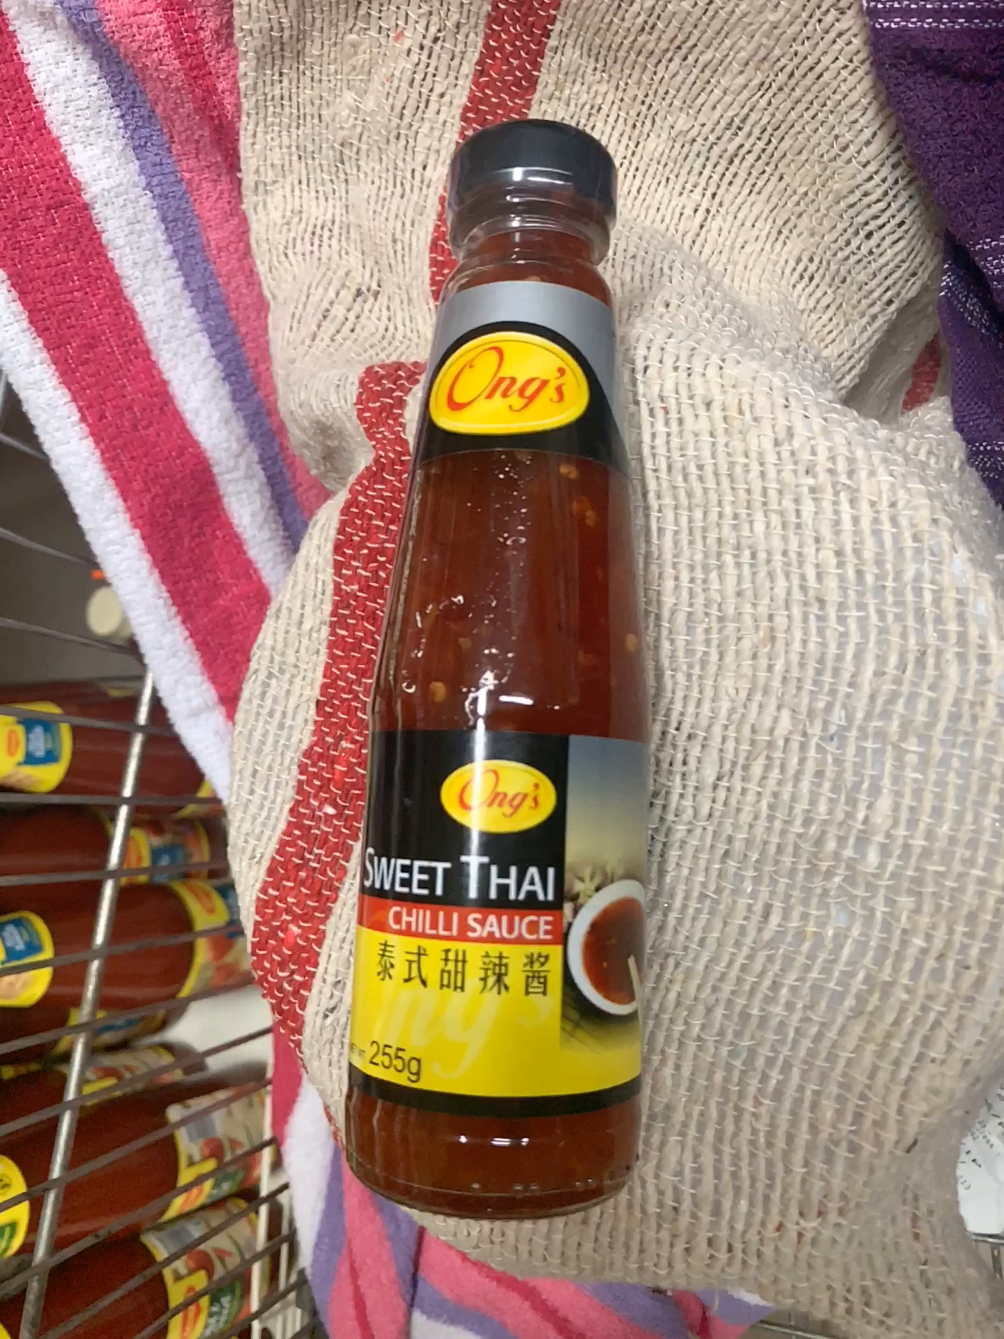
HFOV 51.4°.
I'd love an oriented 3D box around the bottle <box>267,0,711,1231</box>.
[{"bbox_3d":[0.001,-0.014,0.183,0.060,0.050,0.190,2,85,6],"label":"bottle"}]
